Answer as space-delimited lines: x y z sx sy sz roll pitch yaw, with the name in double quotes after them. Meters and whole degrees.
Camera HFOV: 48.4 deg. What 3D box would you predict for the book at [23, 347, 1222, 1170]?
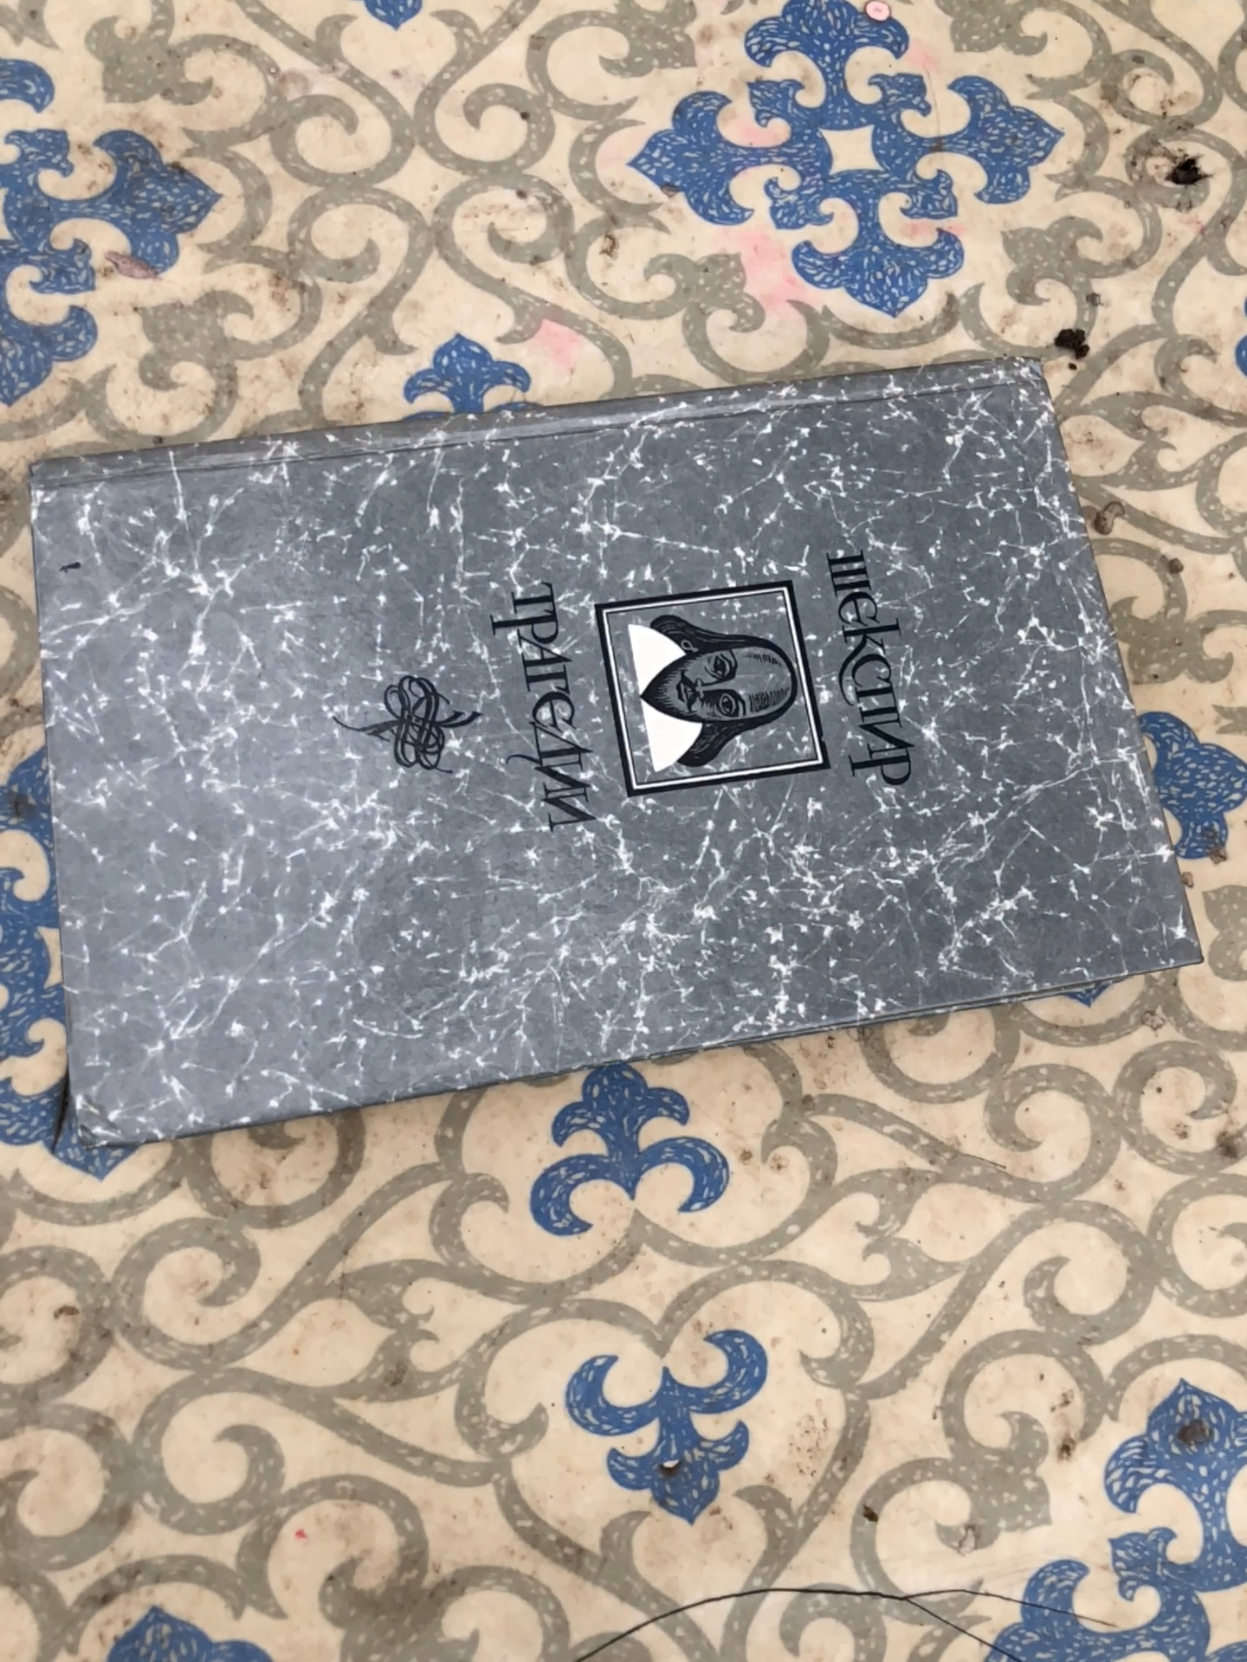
-0.004 -0.018 0.276 0.207 0.033 0.134 -8 76 -6 "book"
